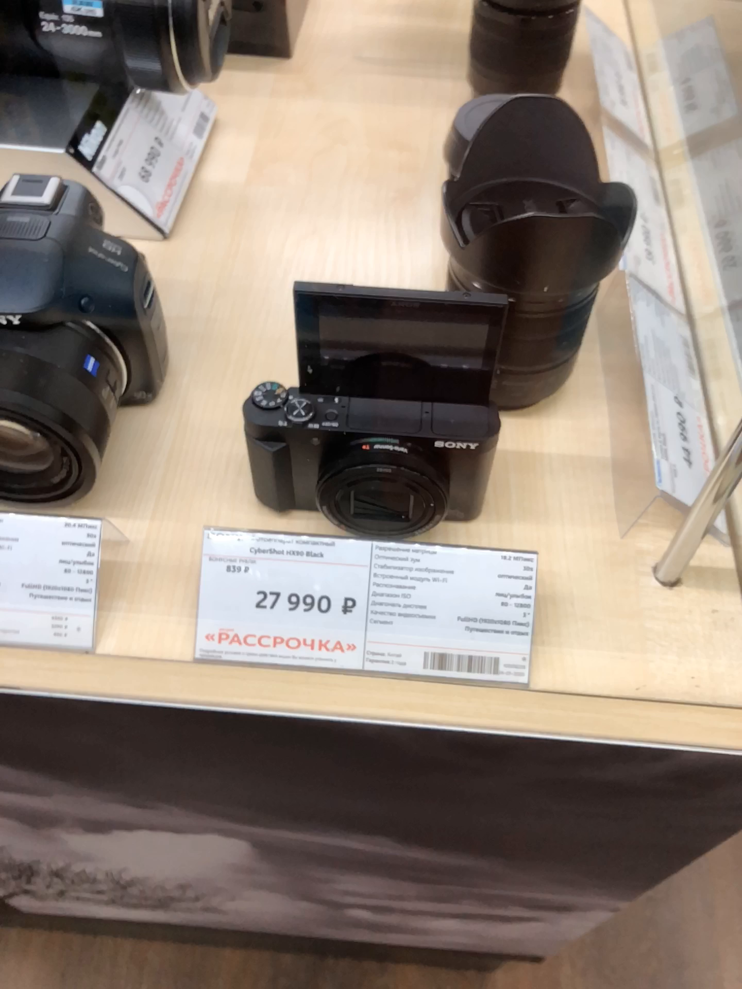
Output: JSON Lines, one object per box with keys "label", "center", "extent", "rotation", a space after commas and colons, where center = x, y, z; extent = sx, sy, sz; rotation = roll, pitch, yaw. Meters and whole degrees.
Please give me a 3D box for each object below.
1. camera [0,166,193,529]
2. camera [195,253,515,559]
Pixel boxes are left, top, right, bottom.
{"label": "camera", "center": [-0.165, -0.068, 0.370], "extent": [0.132, 0.078, 0.136], "rotation": [4, 54, 2]}
{"label": "camera", "center": [-0.004, -0.029, 0.316], "extent": [0.100, 0.107, 0.050], "rotation": [4, 54, 2]}
